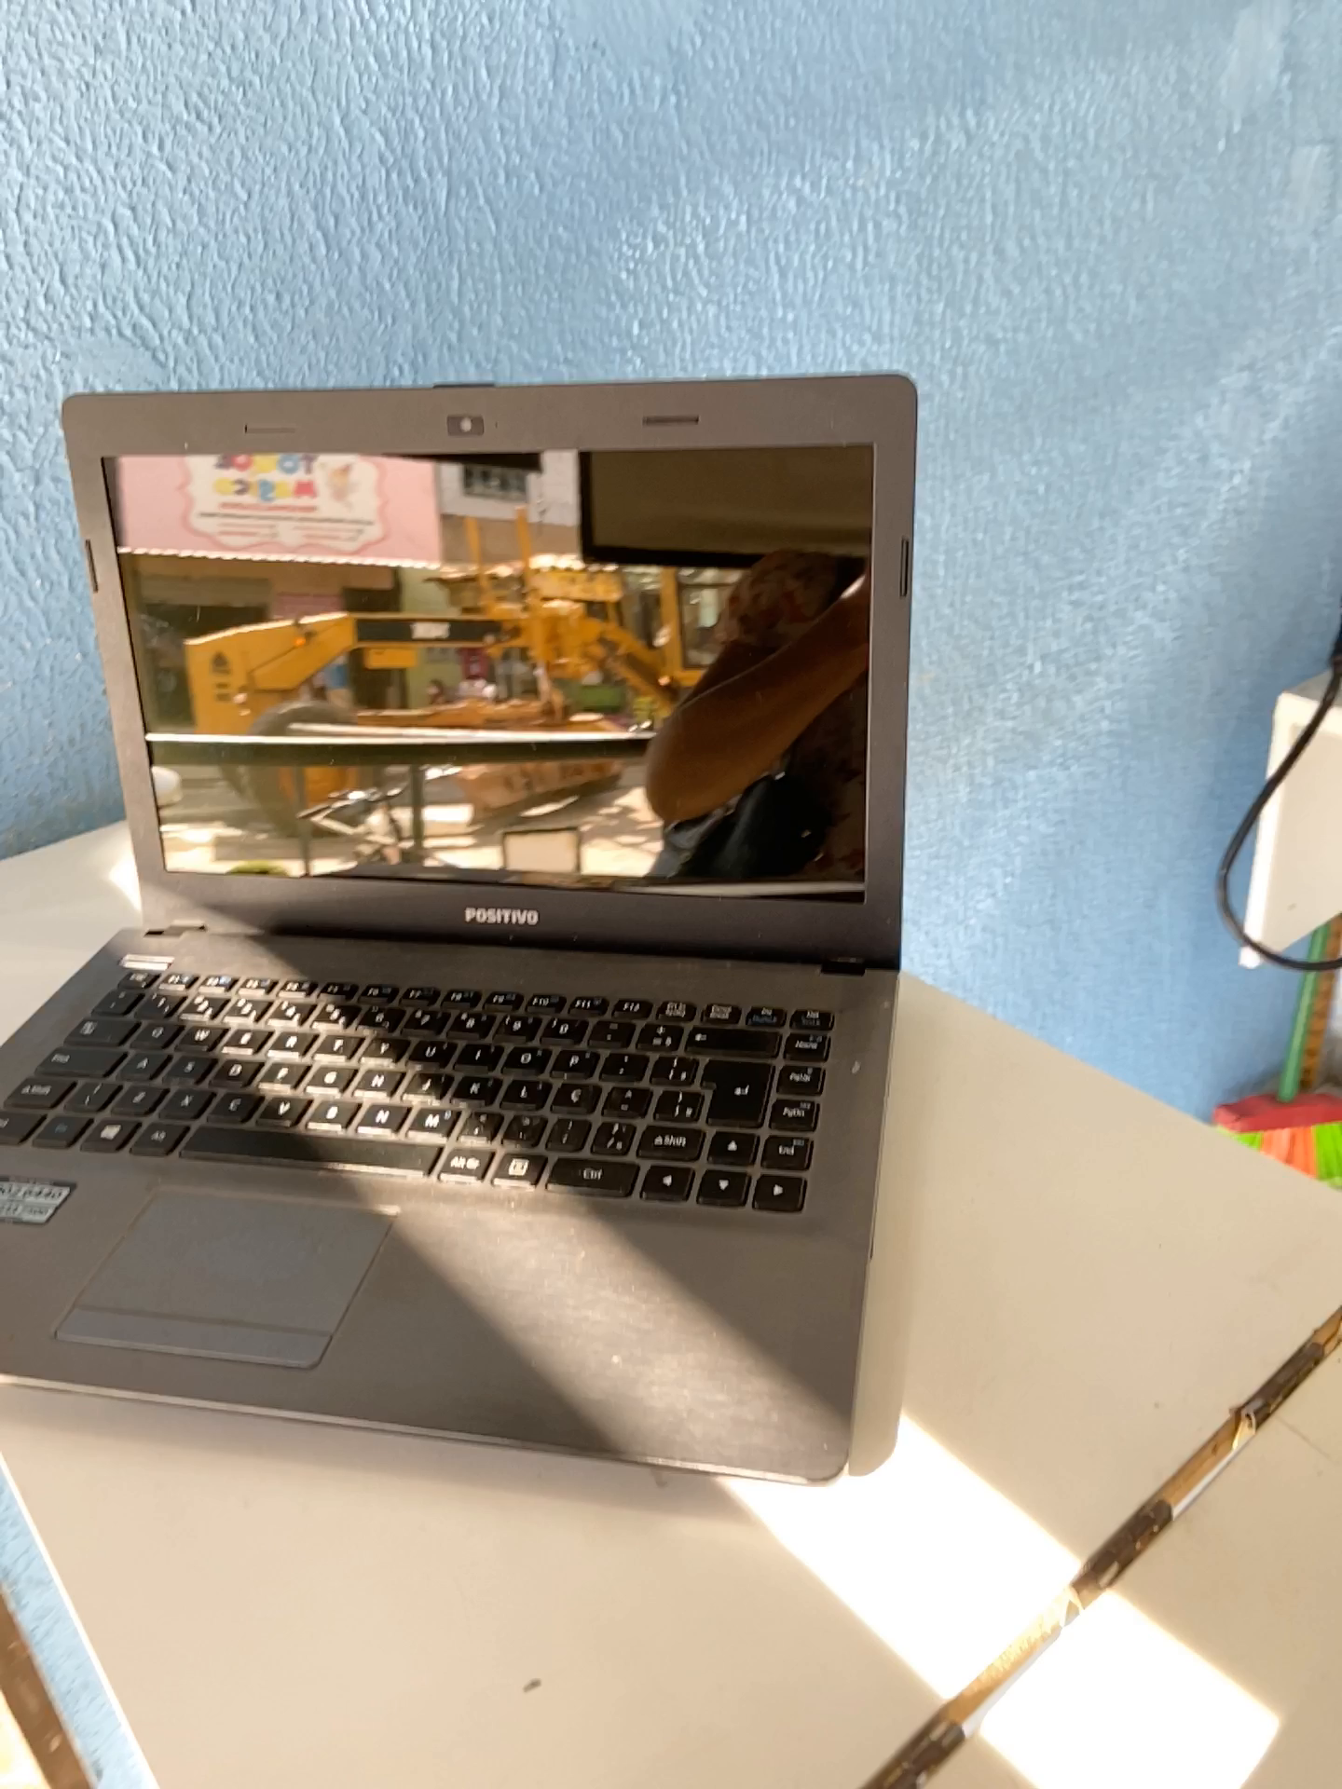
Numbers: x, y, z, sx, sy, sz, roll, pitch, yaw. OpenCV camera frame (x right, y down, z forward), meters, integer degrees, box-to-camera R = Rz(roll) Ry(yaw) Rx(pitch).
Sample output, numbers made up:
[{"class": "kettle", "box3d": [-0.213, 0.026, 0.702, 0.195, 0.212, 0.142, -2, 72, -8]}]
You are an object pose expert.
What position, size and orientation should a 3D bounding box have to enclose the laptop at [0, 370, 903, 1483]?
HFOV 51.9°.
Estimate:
[{"class": "laptop", "box3d": [-0.102, -0.027, 0.451, 0.334, 0.211, 0.284, 2, 30, 13]}]
